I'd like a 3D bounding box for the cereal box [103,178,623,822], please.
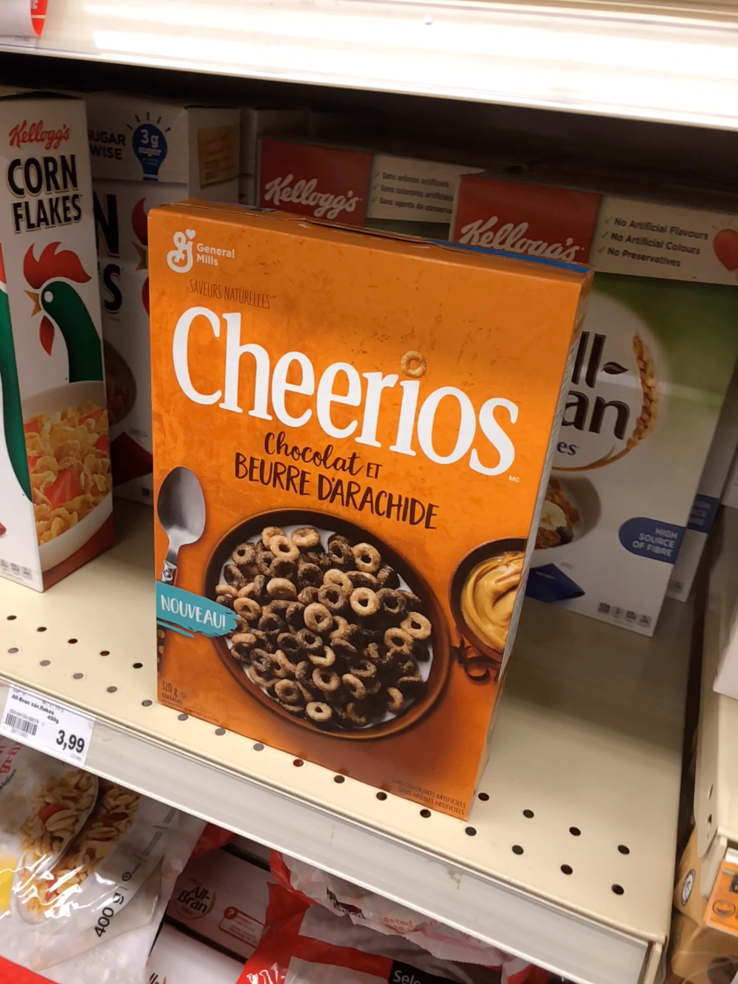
[{"bbox_3d":[-0.018,0.007,0.393,0.210,0.268,0.050,16,29,18],"label":"cereal box"}]
